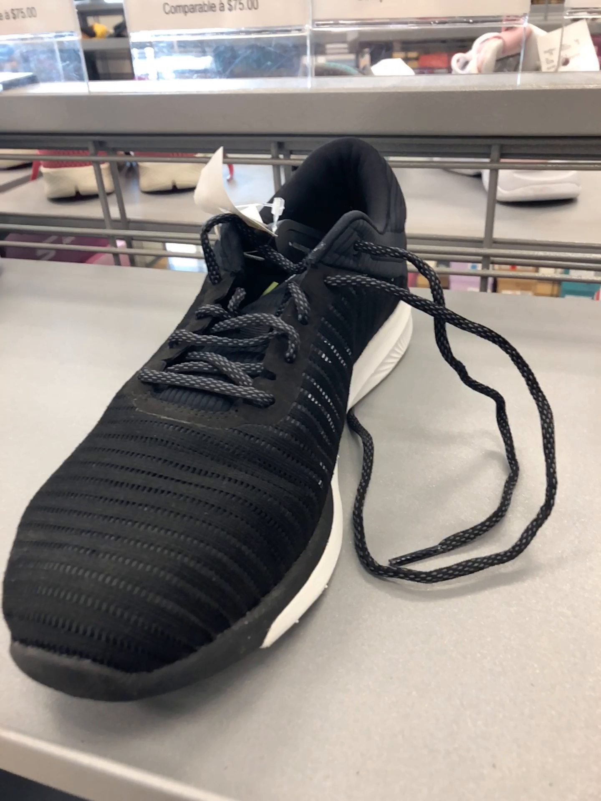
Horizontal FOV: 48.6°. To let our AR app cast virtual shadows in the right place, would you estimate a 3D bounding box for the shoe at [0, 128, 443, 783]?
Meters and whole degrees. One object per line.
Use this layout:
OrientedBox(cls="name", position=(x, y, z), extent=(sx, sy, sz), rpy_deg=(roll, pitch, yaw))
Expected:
OrientedBox(cls="shoe", position=(-0.021, -0.028, 0.296), extent=(0.120, 0.119, 0.302), rpy_deg=(7, 34, 17))
